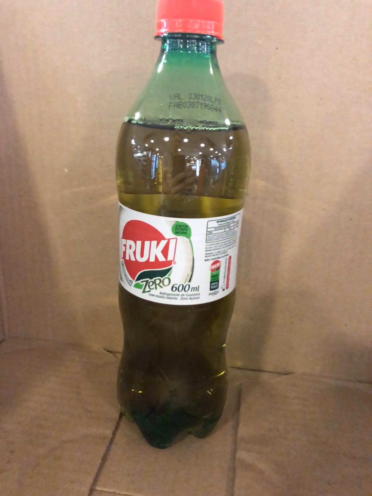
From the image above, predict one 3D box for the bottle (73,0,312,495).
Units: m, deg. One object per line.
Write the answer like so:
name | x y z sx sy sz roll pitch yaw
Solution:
bottle | 0.003 -0.005 0.222 0.080 0.238 0.080 3 20 -1
